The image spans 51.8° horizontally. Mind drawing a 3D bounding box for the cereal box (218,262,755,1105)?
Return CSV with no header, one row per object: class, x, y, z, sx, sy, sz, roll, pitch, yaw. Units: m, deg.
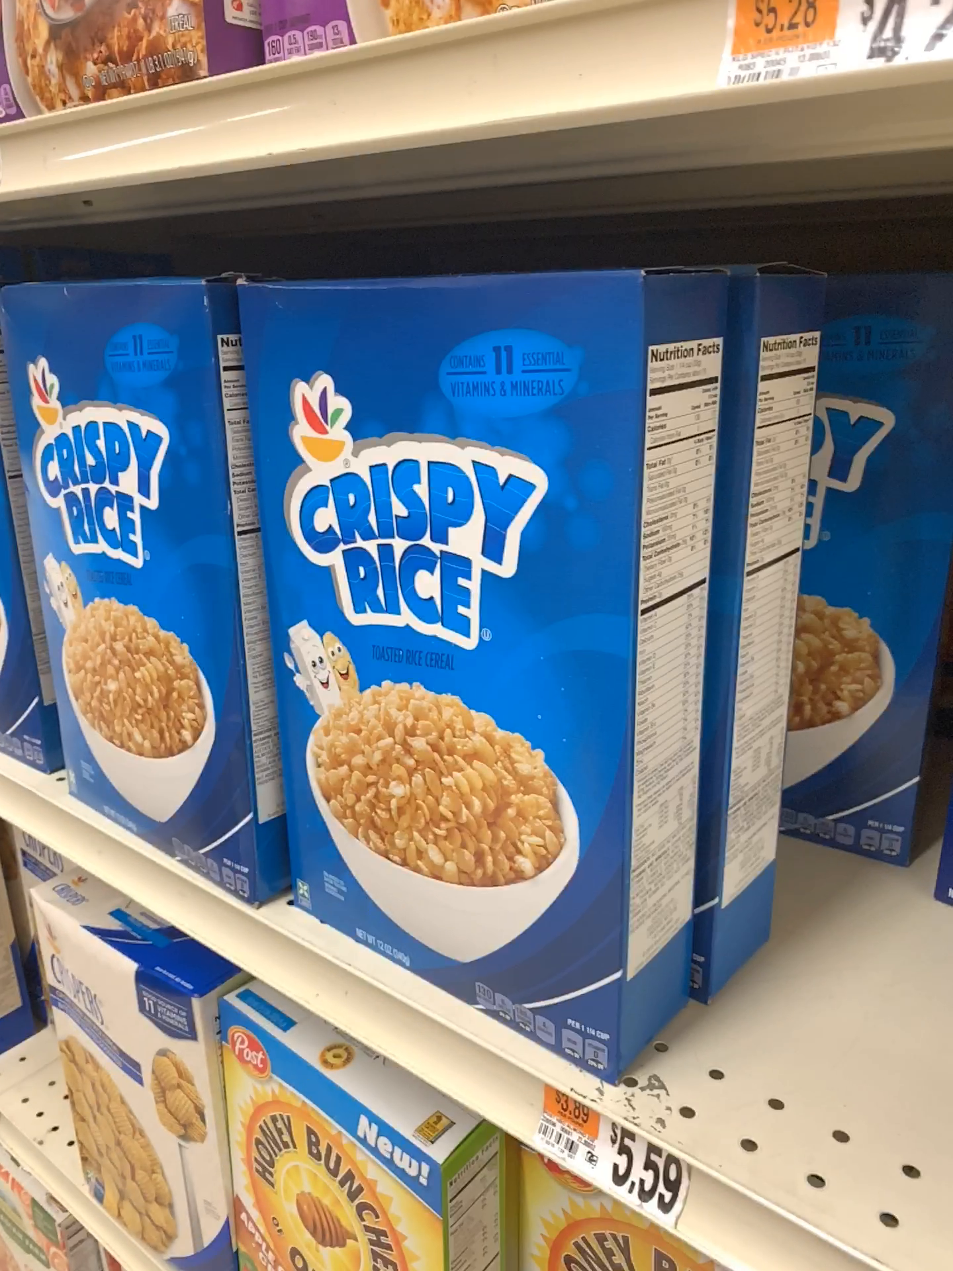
cereal box,-0.003,0.009,0.433,0.210,0.319,0.070,14,25,37
